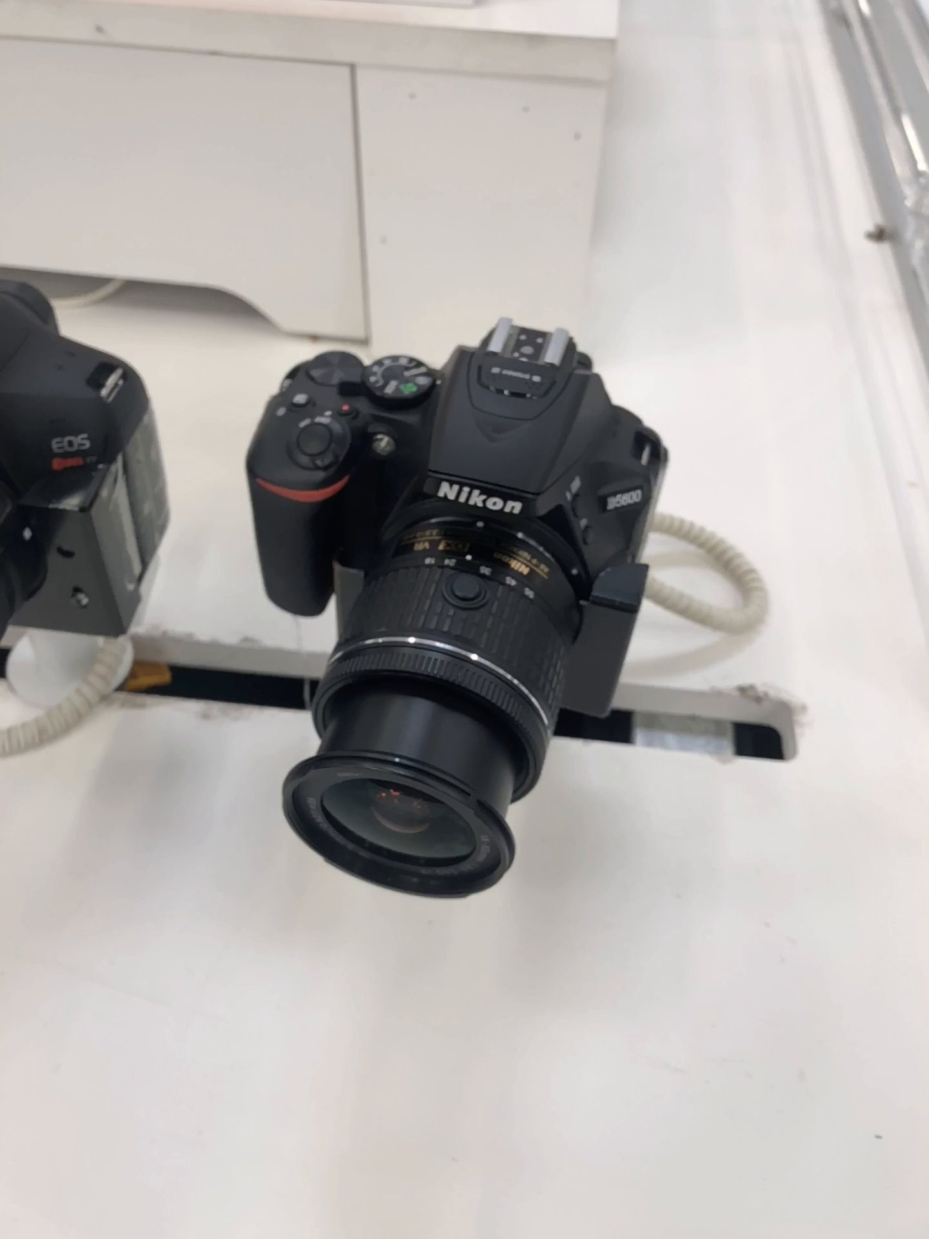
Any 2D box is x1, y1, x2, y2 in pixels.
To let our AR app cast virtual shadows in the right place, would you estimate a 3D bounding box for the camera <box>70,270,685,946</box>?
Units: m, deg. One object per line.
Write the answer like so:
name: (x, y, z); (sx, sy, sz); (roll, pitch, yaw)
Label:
camera: (-0.010, -0.010, 0.288); (0.120, 0.089, 0.151); (9, 49, 5)
